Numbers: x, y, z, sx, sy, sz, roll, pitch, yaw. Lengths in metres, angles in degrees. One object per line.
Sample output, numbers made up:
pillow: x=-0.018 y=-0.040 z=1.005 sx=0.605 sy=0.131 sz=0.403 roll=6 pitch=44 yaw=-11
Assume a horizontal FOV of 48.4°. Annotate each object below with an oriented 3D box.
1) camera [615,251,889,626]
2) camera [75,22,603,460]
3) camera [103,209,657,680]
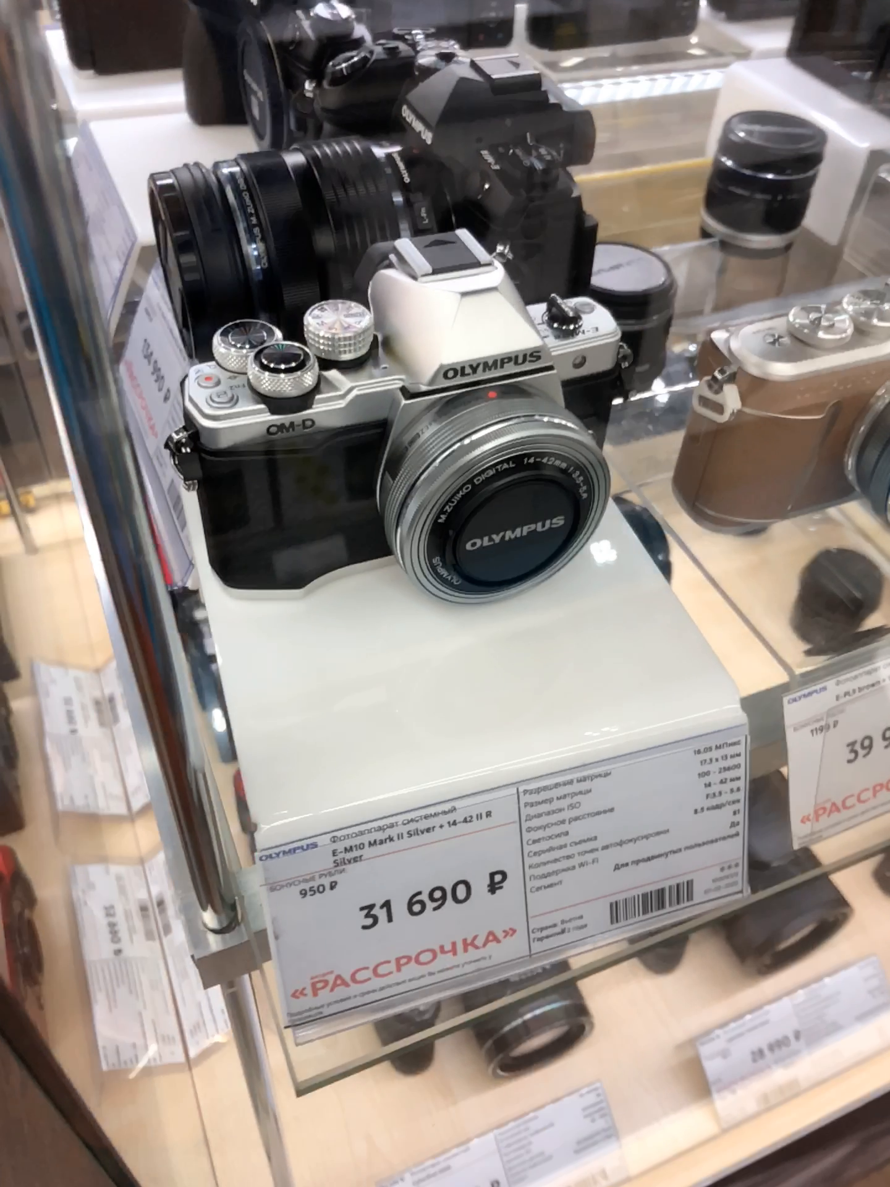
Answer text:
camera: x=0.135 y=-0.052 z=0.309 sx=0.139 sy=0.062 sz=0.065 roll=-16 pitch=49 yaw=-18
camera: x=-0.038 y=-0.124 z=0.335 sx=0.137 sy=0.087 sz=0.102 roll=-15 pitch=49 yaw=-17
camera: x=-0.019 y=-0.044 z=0.275 sx=0.120 sy=0.080 sz=0.072 roll=-16 pitch=49 yaw=-18
